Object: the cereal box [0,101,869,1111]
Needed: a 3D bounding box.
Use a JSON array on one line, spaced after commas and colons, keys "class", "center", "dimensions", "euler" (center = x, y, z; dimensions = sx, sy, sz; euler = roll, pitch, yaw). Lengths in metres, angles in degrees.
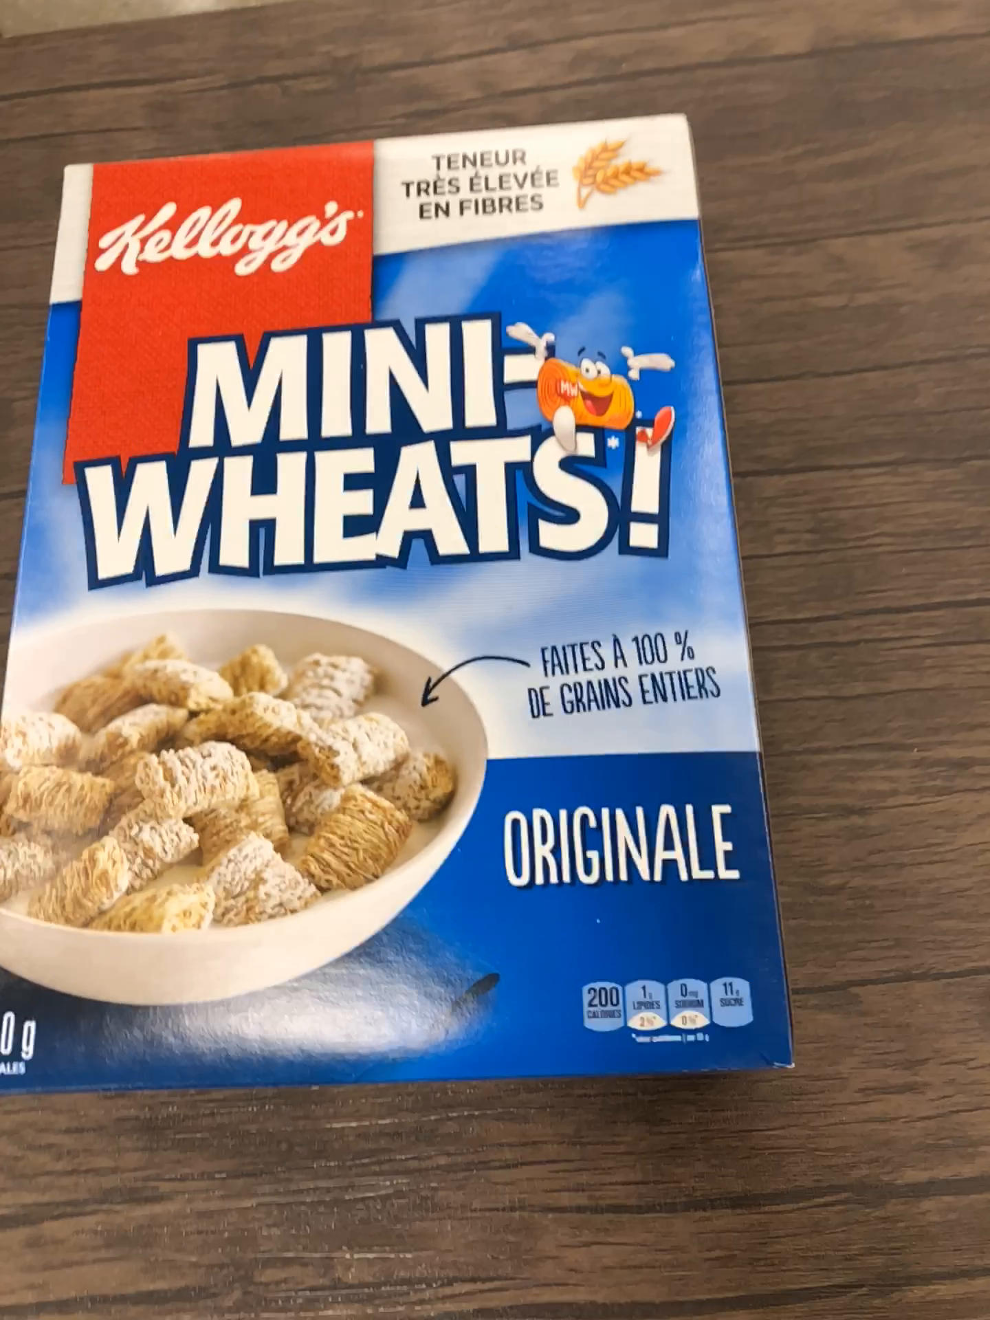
[{"class": "cereal box", "center": [-0.038, -0.022, 0.311], "dimensions": [0.230, 0.060, 0.270], "euler": [-3, 69, 3]}]
